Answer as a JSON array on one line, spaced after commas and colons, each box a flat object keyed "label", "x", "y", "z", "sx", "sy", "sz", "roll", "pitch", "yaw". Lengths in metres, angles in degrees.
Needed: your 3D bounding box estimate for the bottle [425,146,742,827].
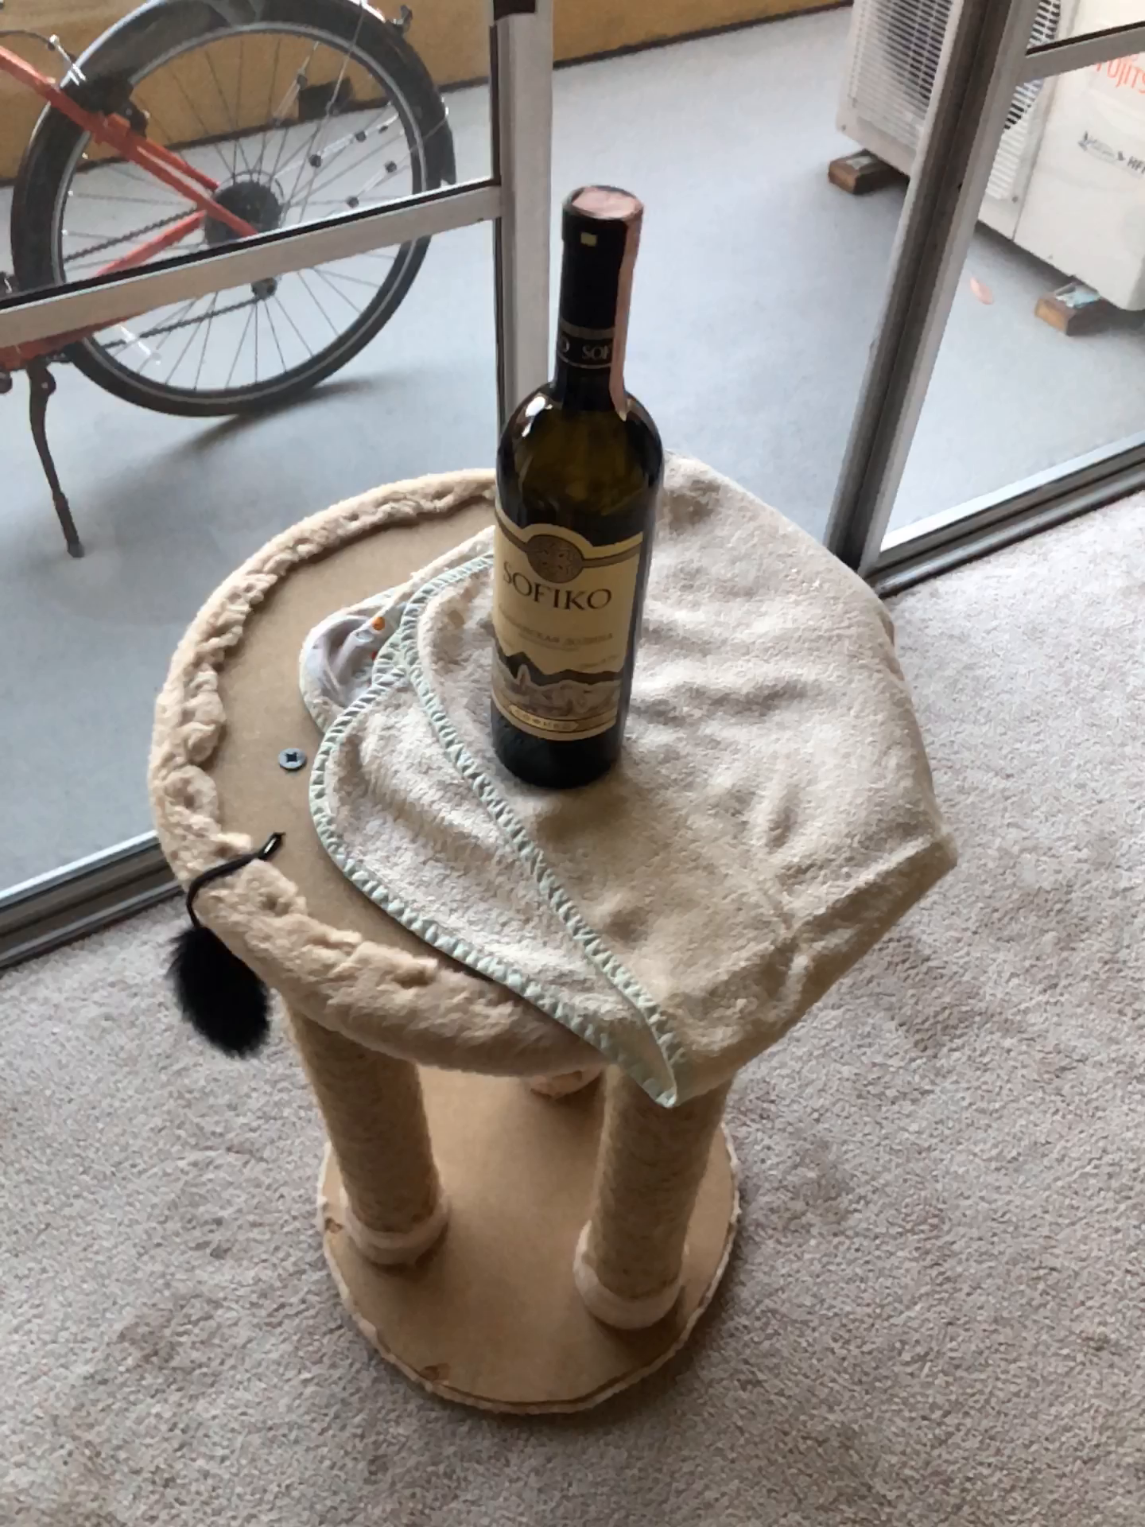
[{"label": "bottle", "x": 0.002, "y": -0.095, "z": 0.524, "sx": 0.080, "sy": 0.269, "sz": 0.080, "roll": 1, "pitch": 51, "yaw": -1}]
